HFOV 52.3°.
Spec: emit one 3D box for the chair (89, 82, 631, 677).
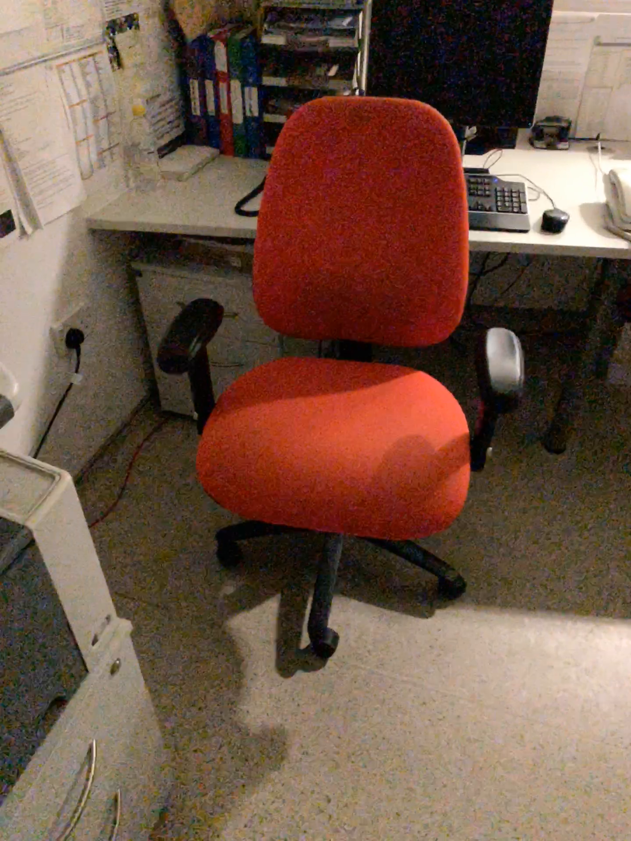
[{"bbox_3d":[0.096,-0.073,1.261,0.670,0.920,0.657,3,39,3],"label":"chair"}]
